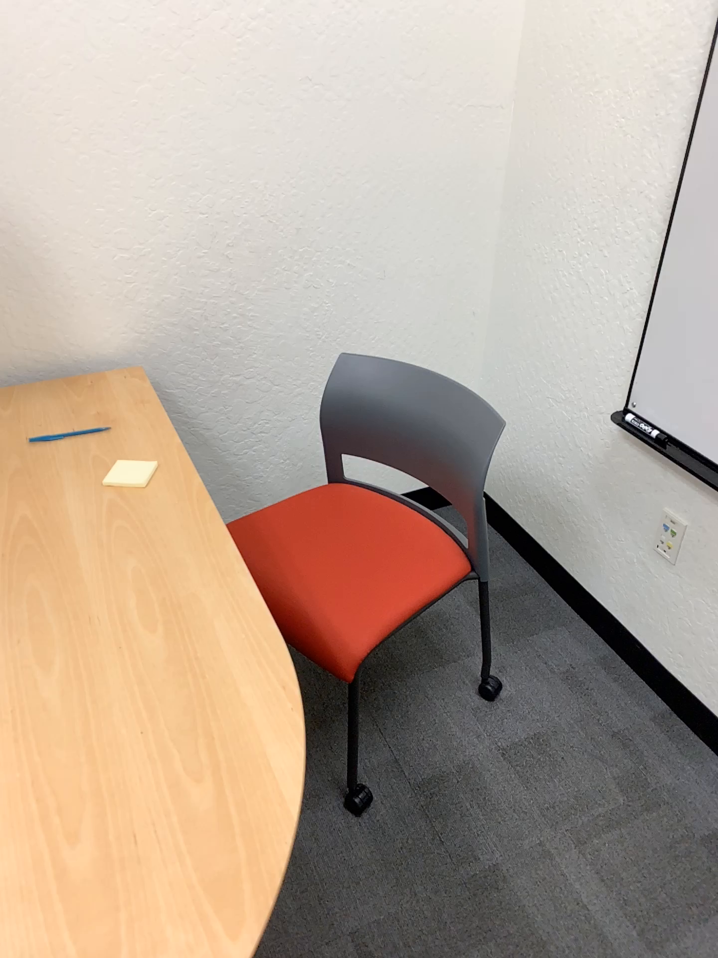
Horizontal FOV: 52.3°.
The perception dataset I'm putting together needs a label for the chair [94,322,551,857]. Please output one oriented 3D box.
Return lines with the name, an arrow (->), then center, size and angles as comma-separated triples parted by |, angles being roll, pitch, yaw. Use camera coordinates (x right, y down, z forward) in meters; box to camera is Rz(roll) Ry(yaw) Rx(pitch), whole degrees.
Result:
chair -> -0.090, 0.223, 1.908 | 0.743, 0.914, 0.722 | 29, 43, 35
